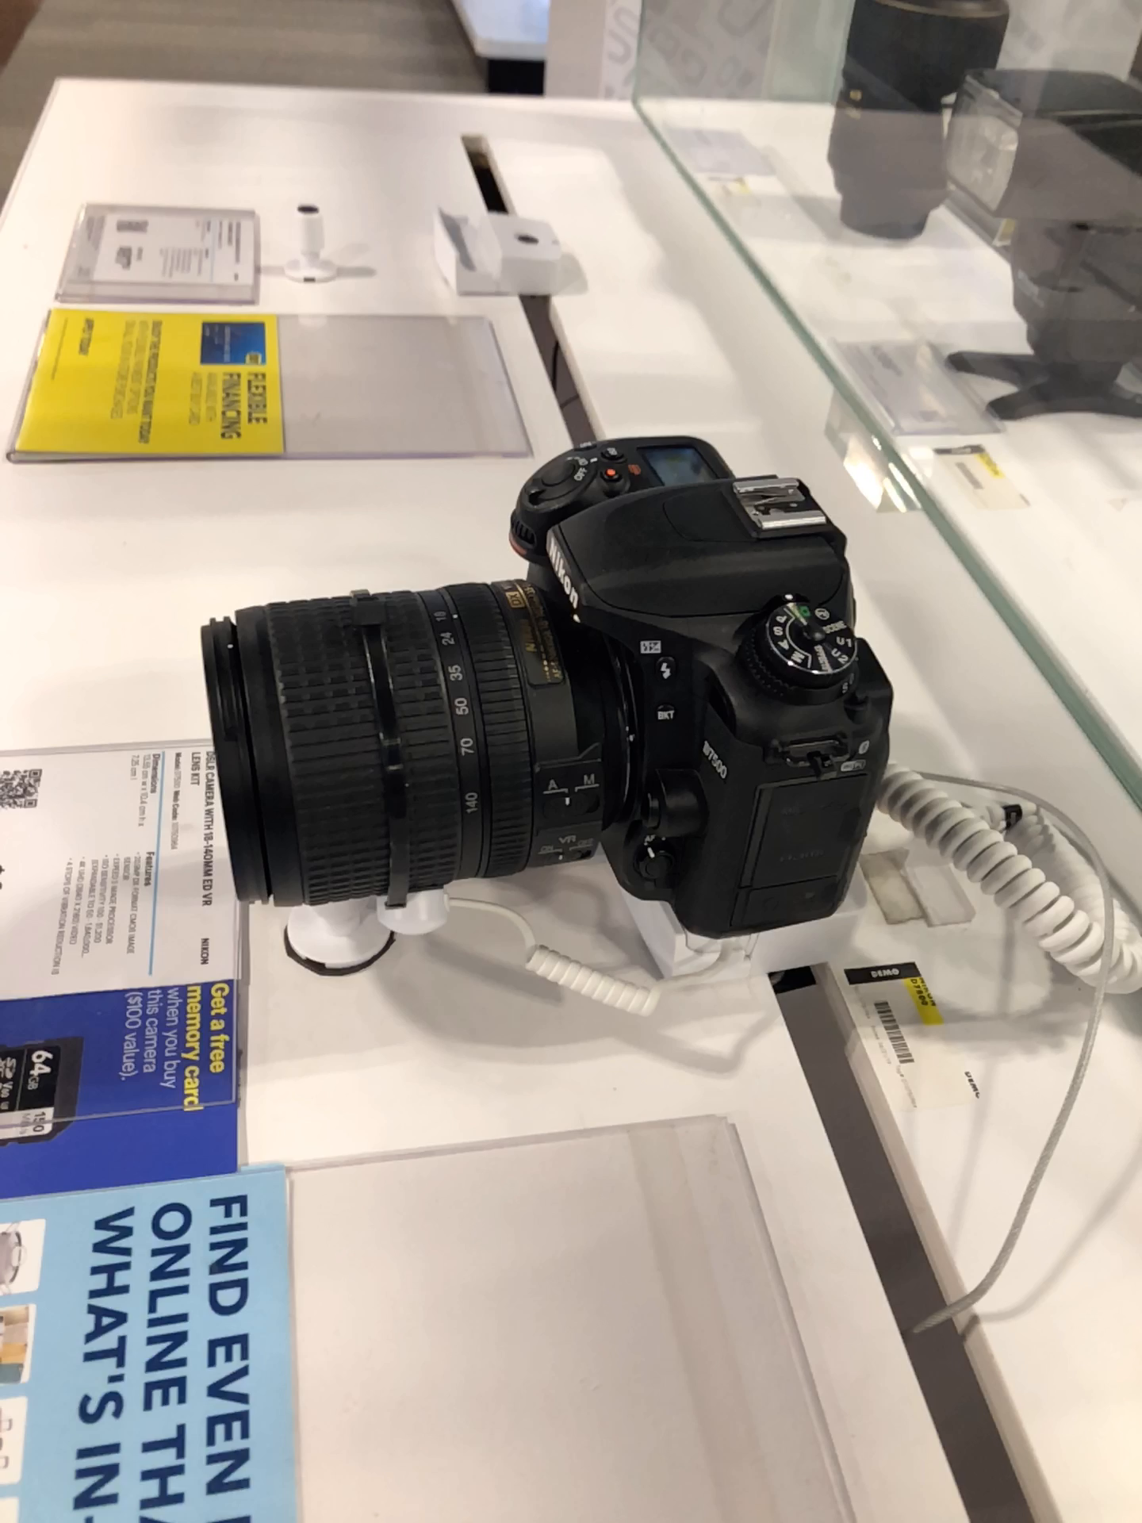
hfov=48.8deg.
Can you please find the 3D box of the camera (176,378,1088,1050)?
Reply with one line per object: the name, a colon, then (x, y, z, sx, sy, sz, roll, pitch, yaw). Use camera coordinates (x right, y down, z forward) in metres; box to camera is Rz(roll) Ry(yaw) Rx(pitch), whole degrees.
camera: (0.002, -0.024, 0.337, 0.190, 0.089, 0.141, -7, 43, -15)
